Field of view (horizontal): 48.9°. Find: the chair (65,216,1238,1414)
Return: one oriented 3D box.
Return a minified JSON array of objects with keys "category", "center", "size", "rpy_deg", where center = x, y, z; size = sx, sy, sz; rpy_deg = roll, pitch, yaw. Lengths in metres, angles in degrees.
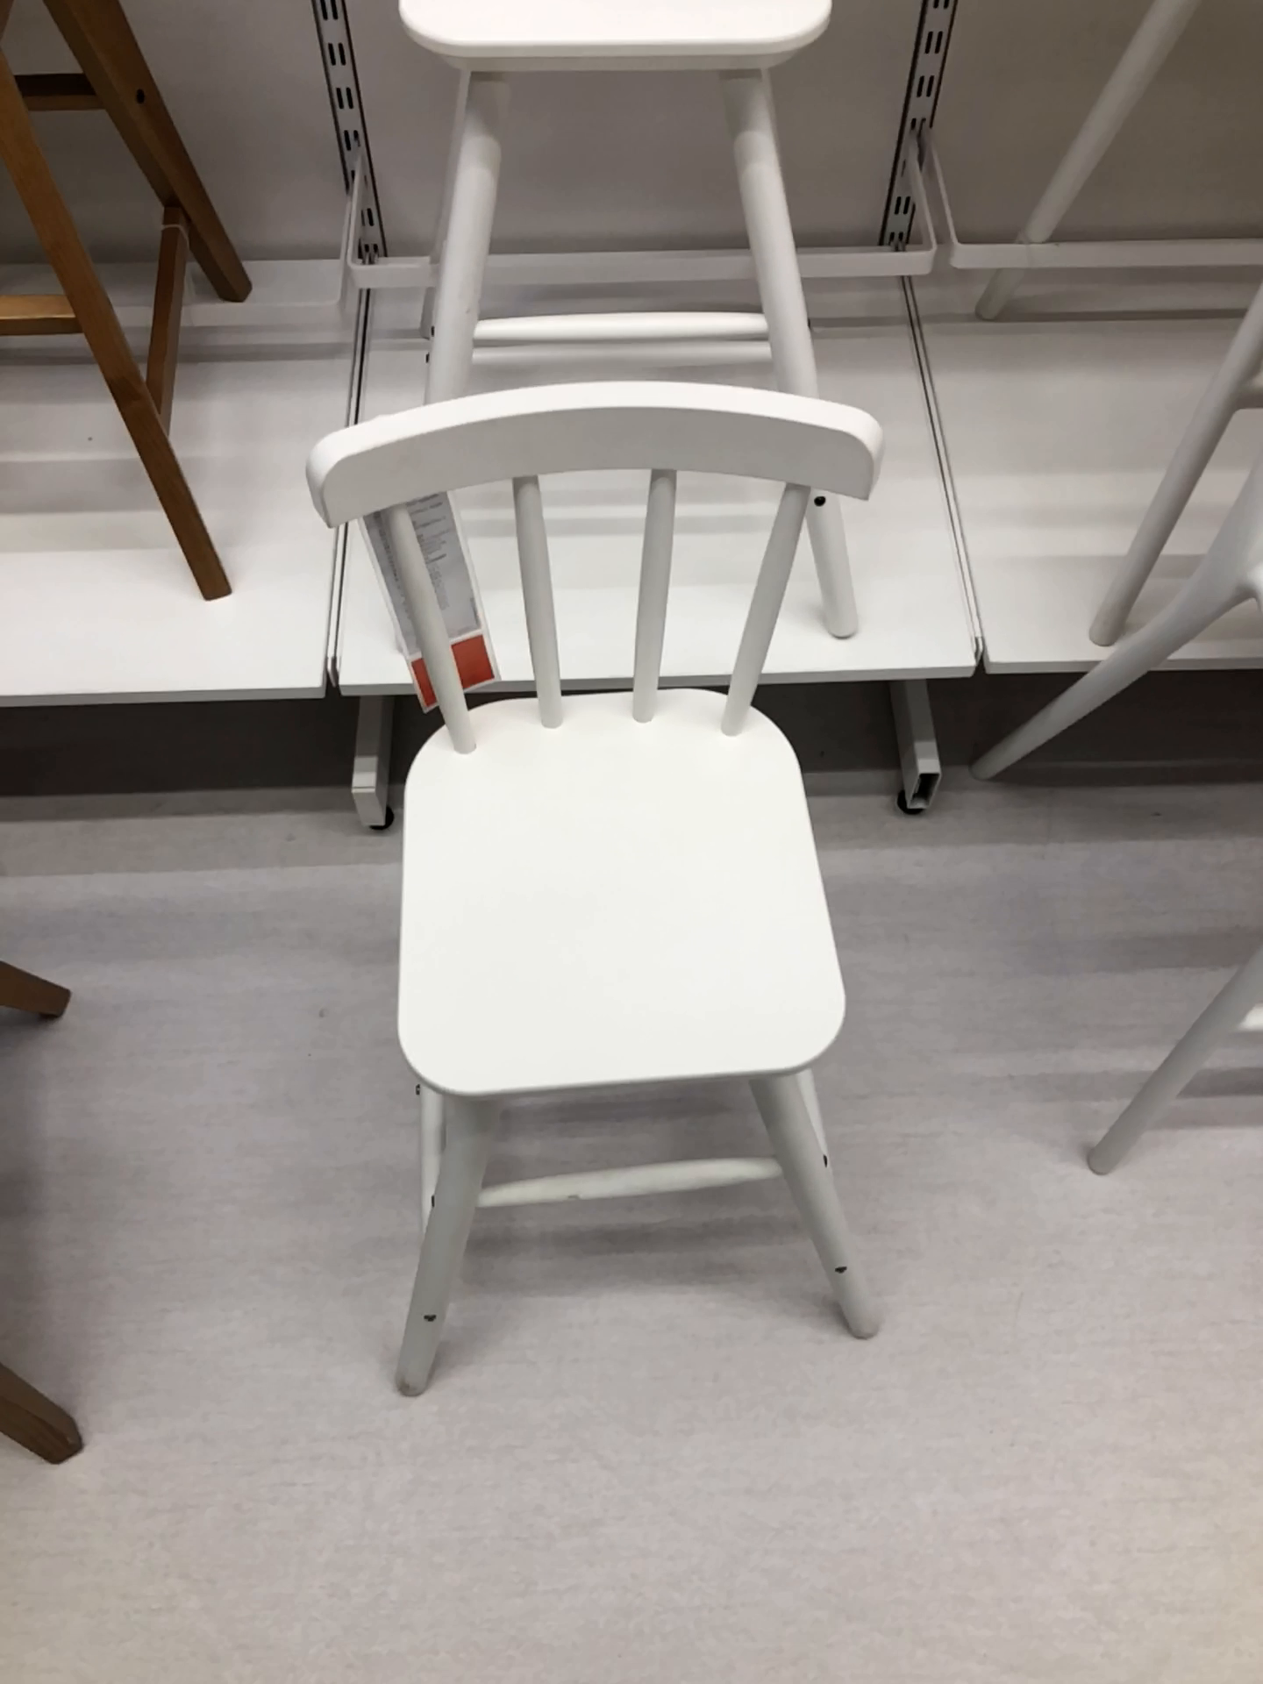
[{"category":"chair","center":[-0.011,0.067,1.024],"size":[0.470,0.796,0.502],"rpy_deg":[-5,59,-3]}]
